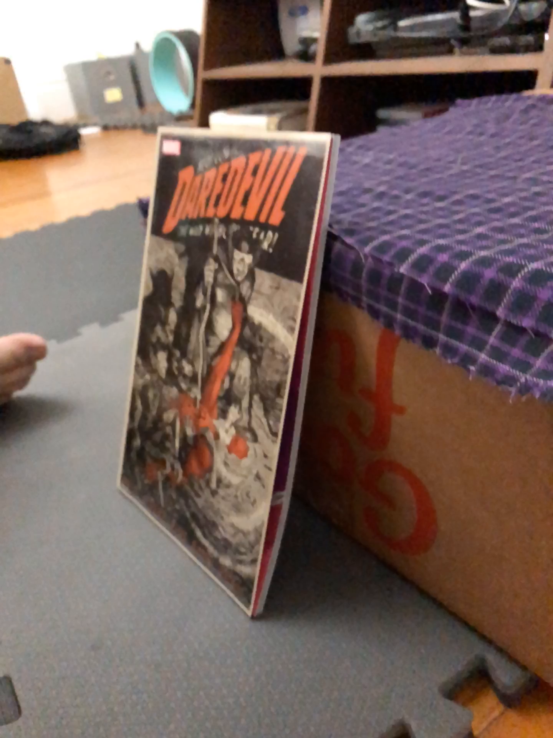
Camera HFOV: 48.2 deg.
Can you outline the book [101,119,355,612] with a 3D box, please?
[{"bbox_3d":[-0.043,-0.013,0.342,0.020,0.229,0.160,-4,20,-41],"label":"book"}]
